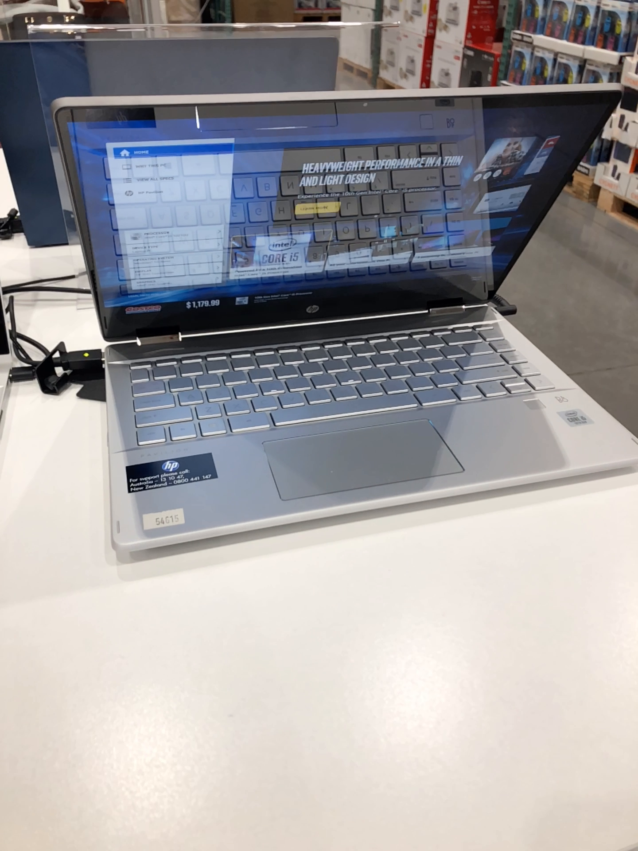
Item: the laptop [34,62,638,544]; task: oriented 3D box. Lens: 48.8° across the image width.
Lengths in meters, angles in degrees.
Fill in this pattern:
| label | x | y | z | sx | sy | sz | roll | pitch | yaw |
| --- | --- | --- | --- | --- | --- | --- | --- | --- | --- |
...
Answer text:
| label | x | y | z | sx | sy | sz | roll | pitch | yaw |
| --- | --- | --- | --- | --- | --- | --- | --- | --- | --- |
| laptop | 0.021 | -0.095 | 0.423 | 0.317 | 0.185 | 0.207 | -8 | 36 | -12 |
